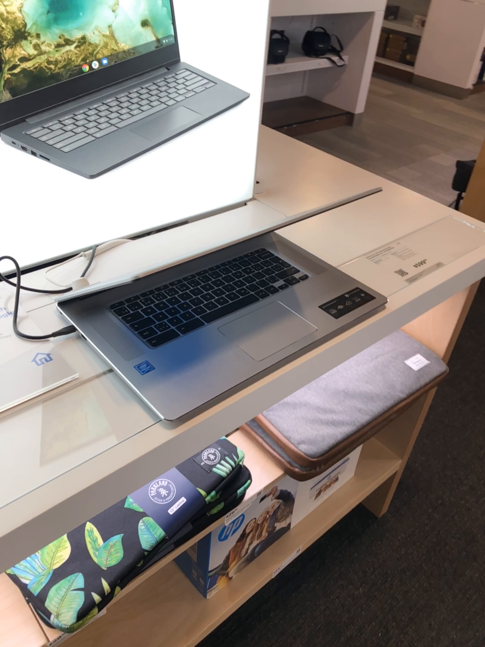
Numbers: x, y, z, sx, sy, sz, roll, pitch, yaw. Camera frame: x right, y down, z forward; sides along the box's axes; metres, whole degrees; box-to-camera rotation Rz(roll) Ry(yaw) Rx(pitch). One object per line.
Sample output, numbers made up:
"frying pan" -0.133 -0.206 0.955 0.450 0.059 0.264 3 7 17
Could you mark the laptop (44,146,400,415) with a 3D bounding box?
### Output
"laptop" -0.014 -0.087 0.673 0.366 0.146 0.231 -26 48 -37
